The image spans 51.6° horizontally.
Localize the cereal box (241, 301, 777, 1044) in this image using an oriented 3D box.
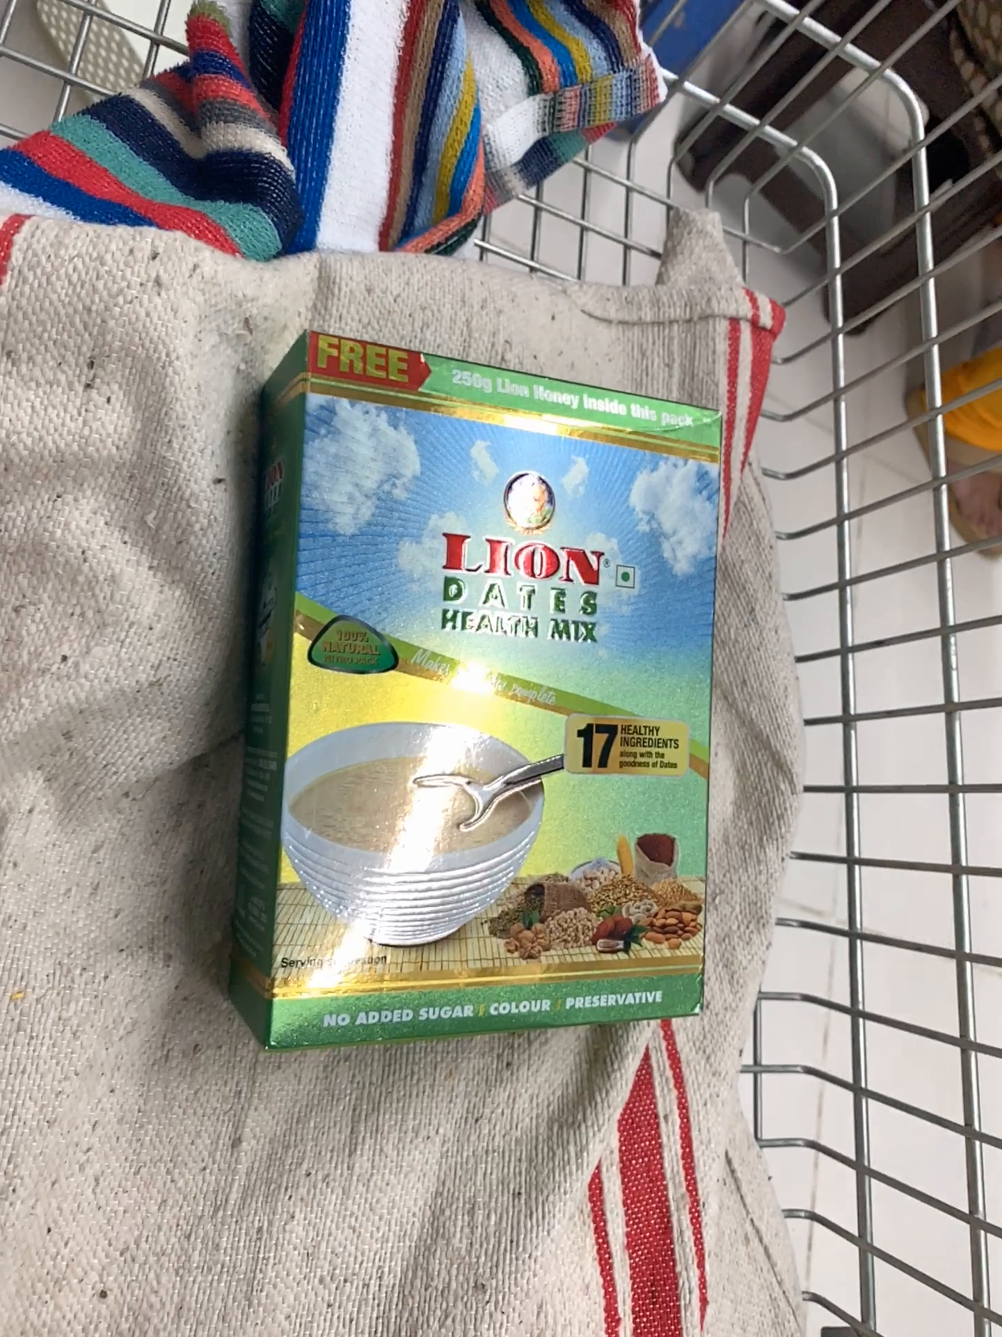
[{"bbox_3d":[0.001,0.005,0.333,0.140,0.090,0.190,4,86,-23],"label":"cereal box"}]
